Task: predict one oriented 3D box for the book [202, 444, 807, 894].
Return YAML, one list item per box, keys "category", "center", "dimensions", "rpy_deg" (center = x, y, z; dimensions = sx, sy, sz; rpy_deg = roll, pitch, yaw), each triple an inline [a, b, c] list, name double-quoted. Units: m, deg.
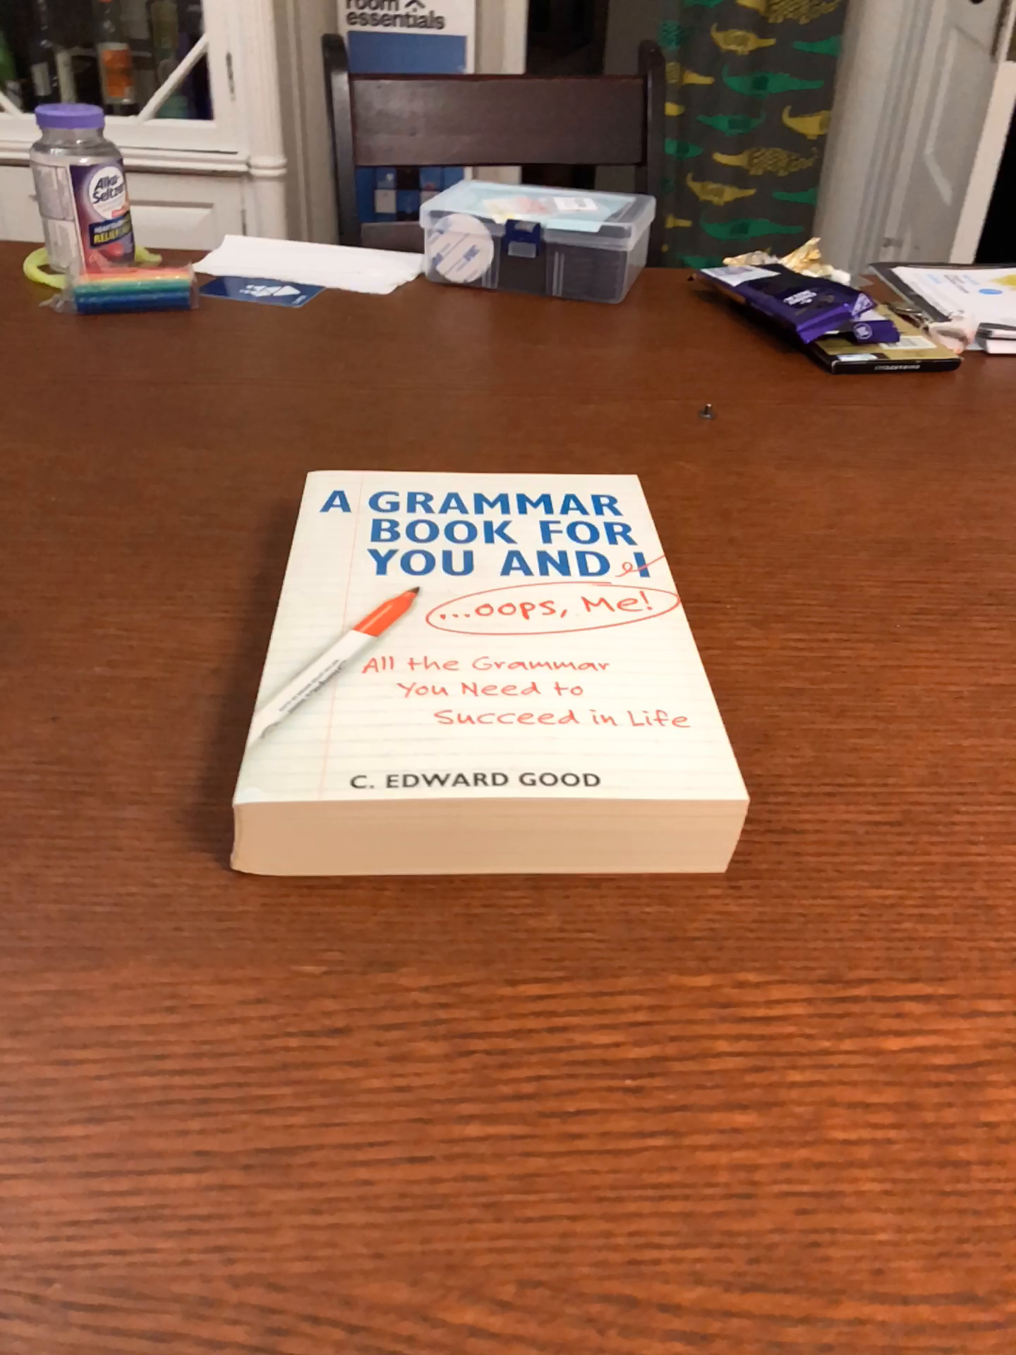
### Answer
- category: "book"
  center: [-0.006, -0.021, 0.424]
  dimensions: [0.170, 0.040, 0.242]
  rpy_deg: [0, 35, -4]
